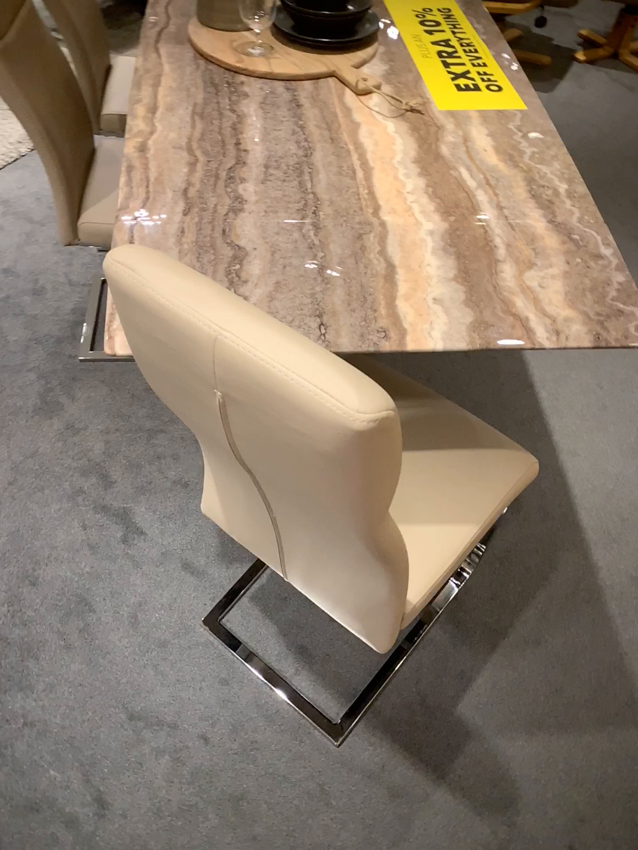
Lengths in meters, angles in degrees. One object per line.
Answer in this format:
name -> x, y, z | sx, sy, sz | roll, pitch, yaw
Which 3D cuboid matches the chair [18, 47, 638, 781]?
chair -> 0.047, 0.062, 1.053 | 0.475, 0.975, 0.572 | 34, 56, 22
